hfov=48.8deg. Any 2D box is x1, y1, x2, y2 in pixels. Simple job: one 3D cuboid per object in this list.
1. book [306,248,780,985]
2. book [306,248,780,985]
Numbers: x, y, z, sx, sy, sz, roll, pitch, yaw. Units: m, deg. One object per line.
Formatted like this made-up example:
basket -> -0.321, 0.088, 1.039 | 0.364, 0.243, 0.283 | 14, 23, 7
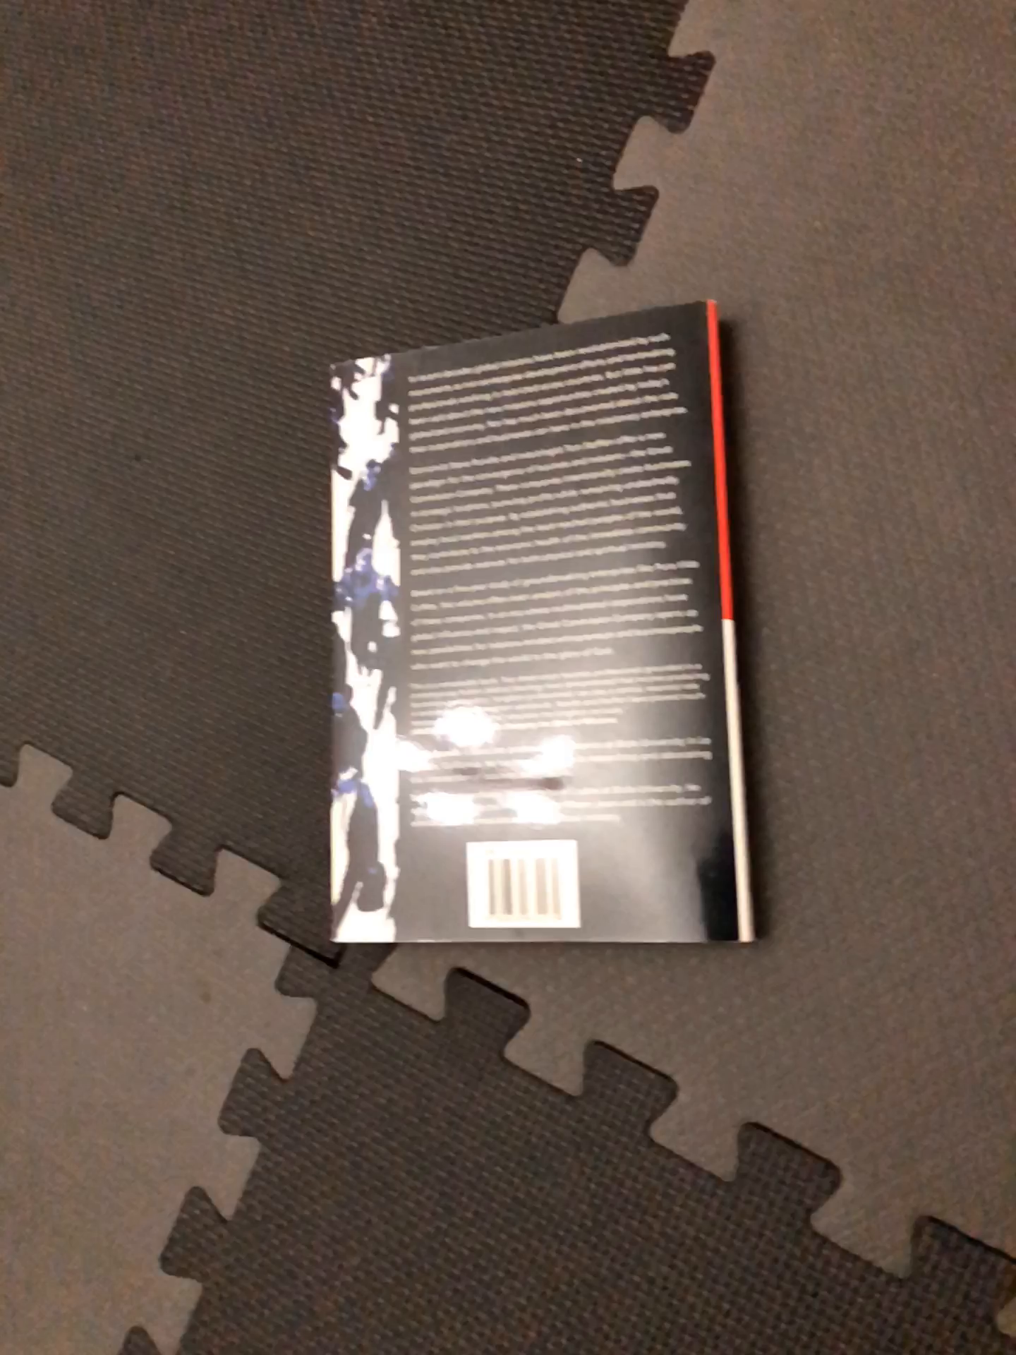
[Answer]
book -> 0.006, -0.018, 0.374 | 0.150, 0.020, 0.230 | -5, 78, 20
book -> 0.006, -0.018, 0.374 | 0.150, 0.020, 0.230 | -5, 78, 20
